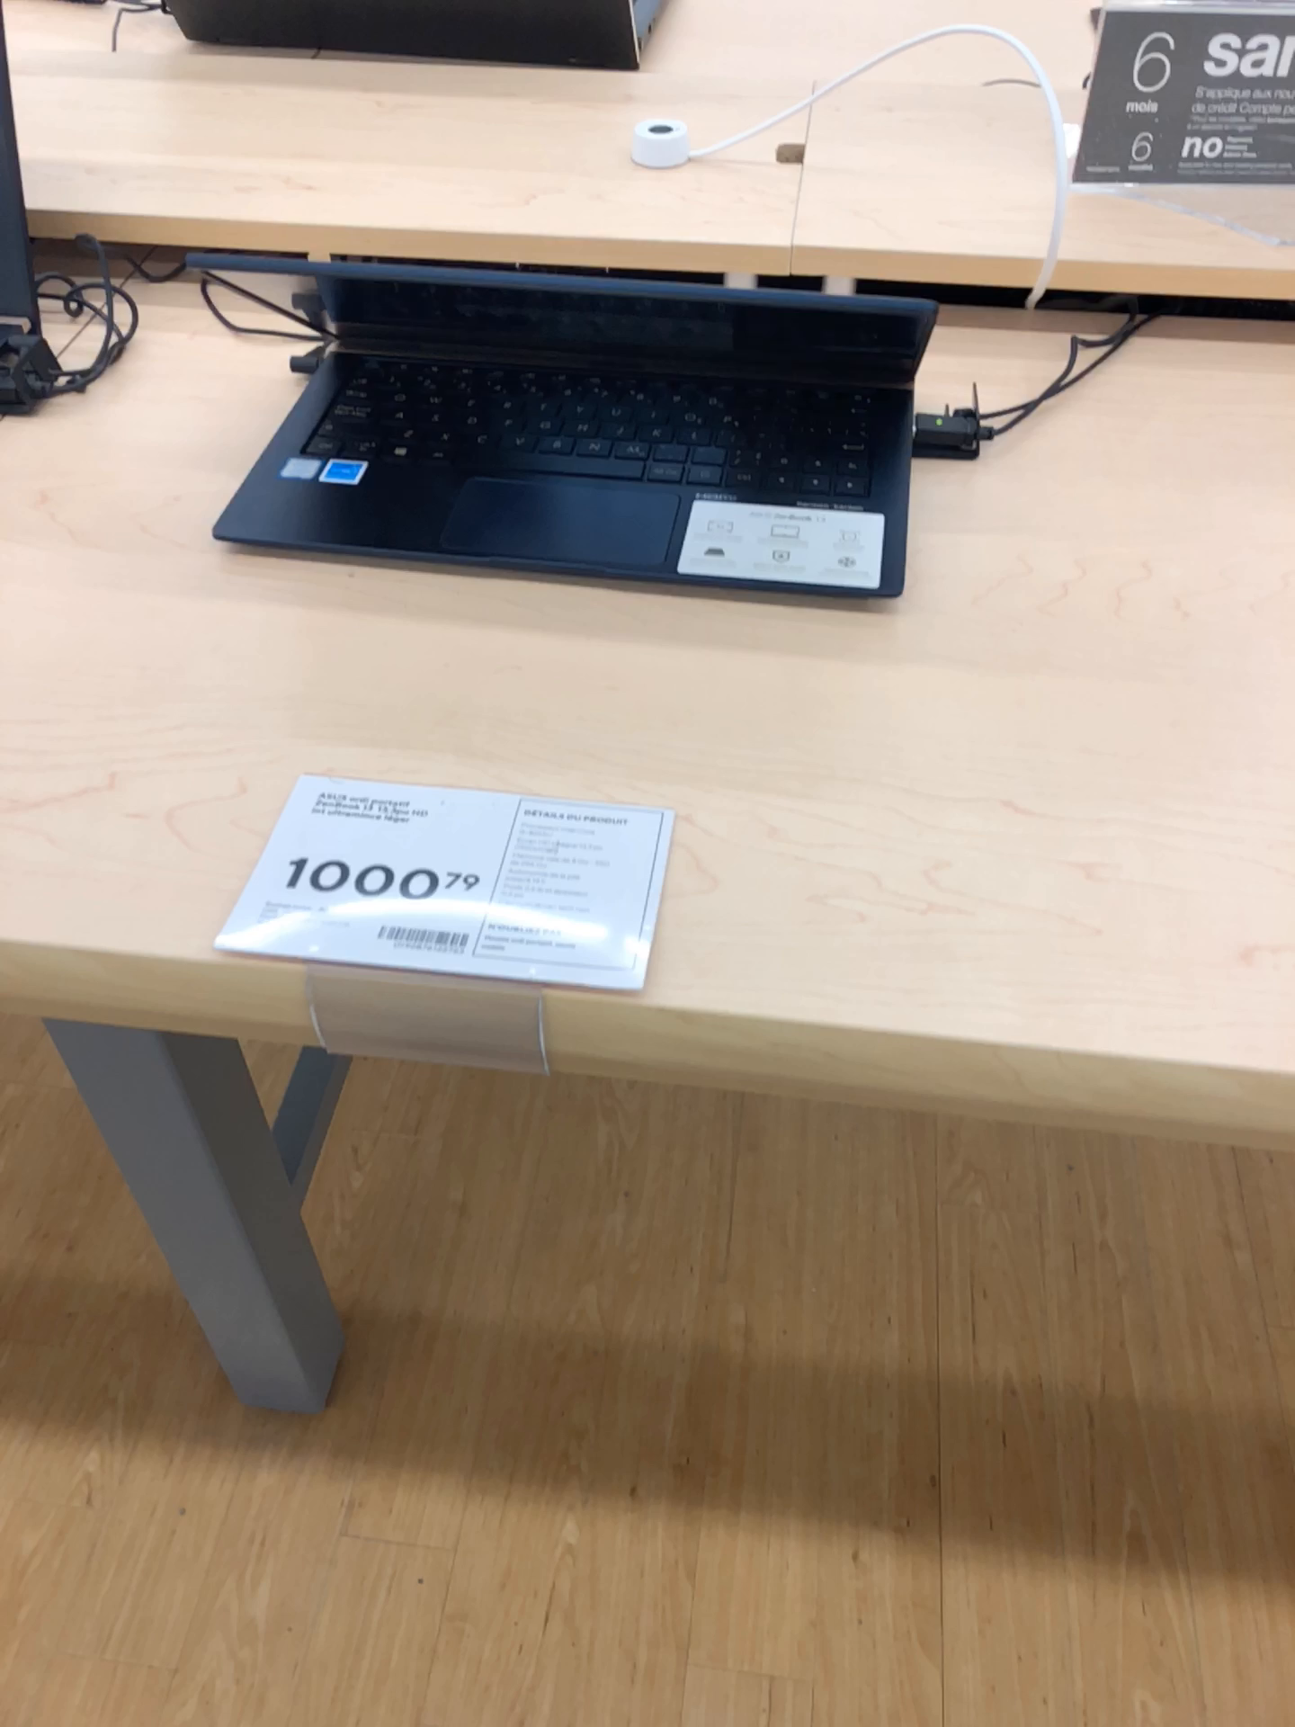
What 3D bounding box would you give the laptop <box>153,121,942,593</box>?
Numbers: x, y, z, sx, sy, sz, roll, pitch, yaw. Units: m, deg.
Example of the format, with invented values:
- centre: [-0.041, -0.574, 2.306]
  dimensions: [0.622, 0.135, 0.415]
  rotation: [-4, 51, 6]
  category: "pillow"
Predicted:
- centre: [-0.027, -0.235, 0.636]
  dimensions: [0.299, 0.107, 0.197]
  rotation: [6, 46, 6]
  category: "laptop"
